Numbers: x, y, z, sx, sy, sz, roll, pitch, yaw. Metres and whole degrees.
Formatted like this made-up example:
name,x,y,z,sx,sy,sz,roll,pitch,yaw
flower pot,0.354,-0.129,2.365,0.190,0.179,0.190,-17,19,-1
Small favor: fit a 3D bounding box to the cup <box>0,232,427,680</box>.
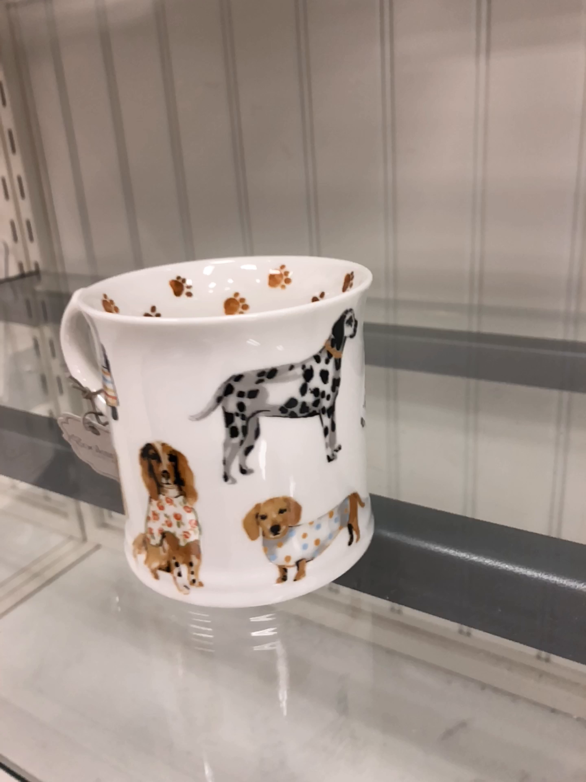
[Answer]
name,x,y,z,sx,sy,sz,roll,pitch,yaw
cup,-0.036,0.001,0.220,0.125,0.089,0.100,15,27,40
